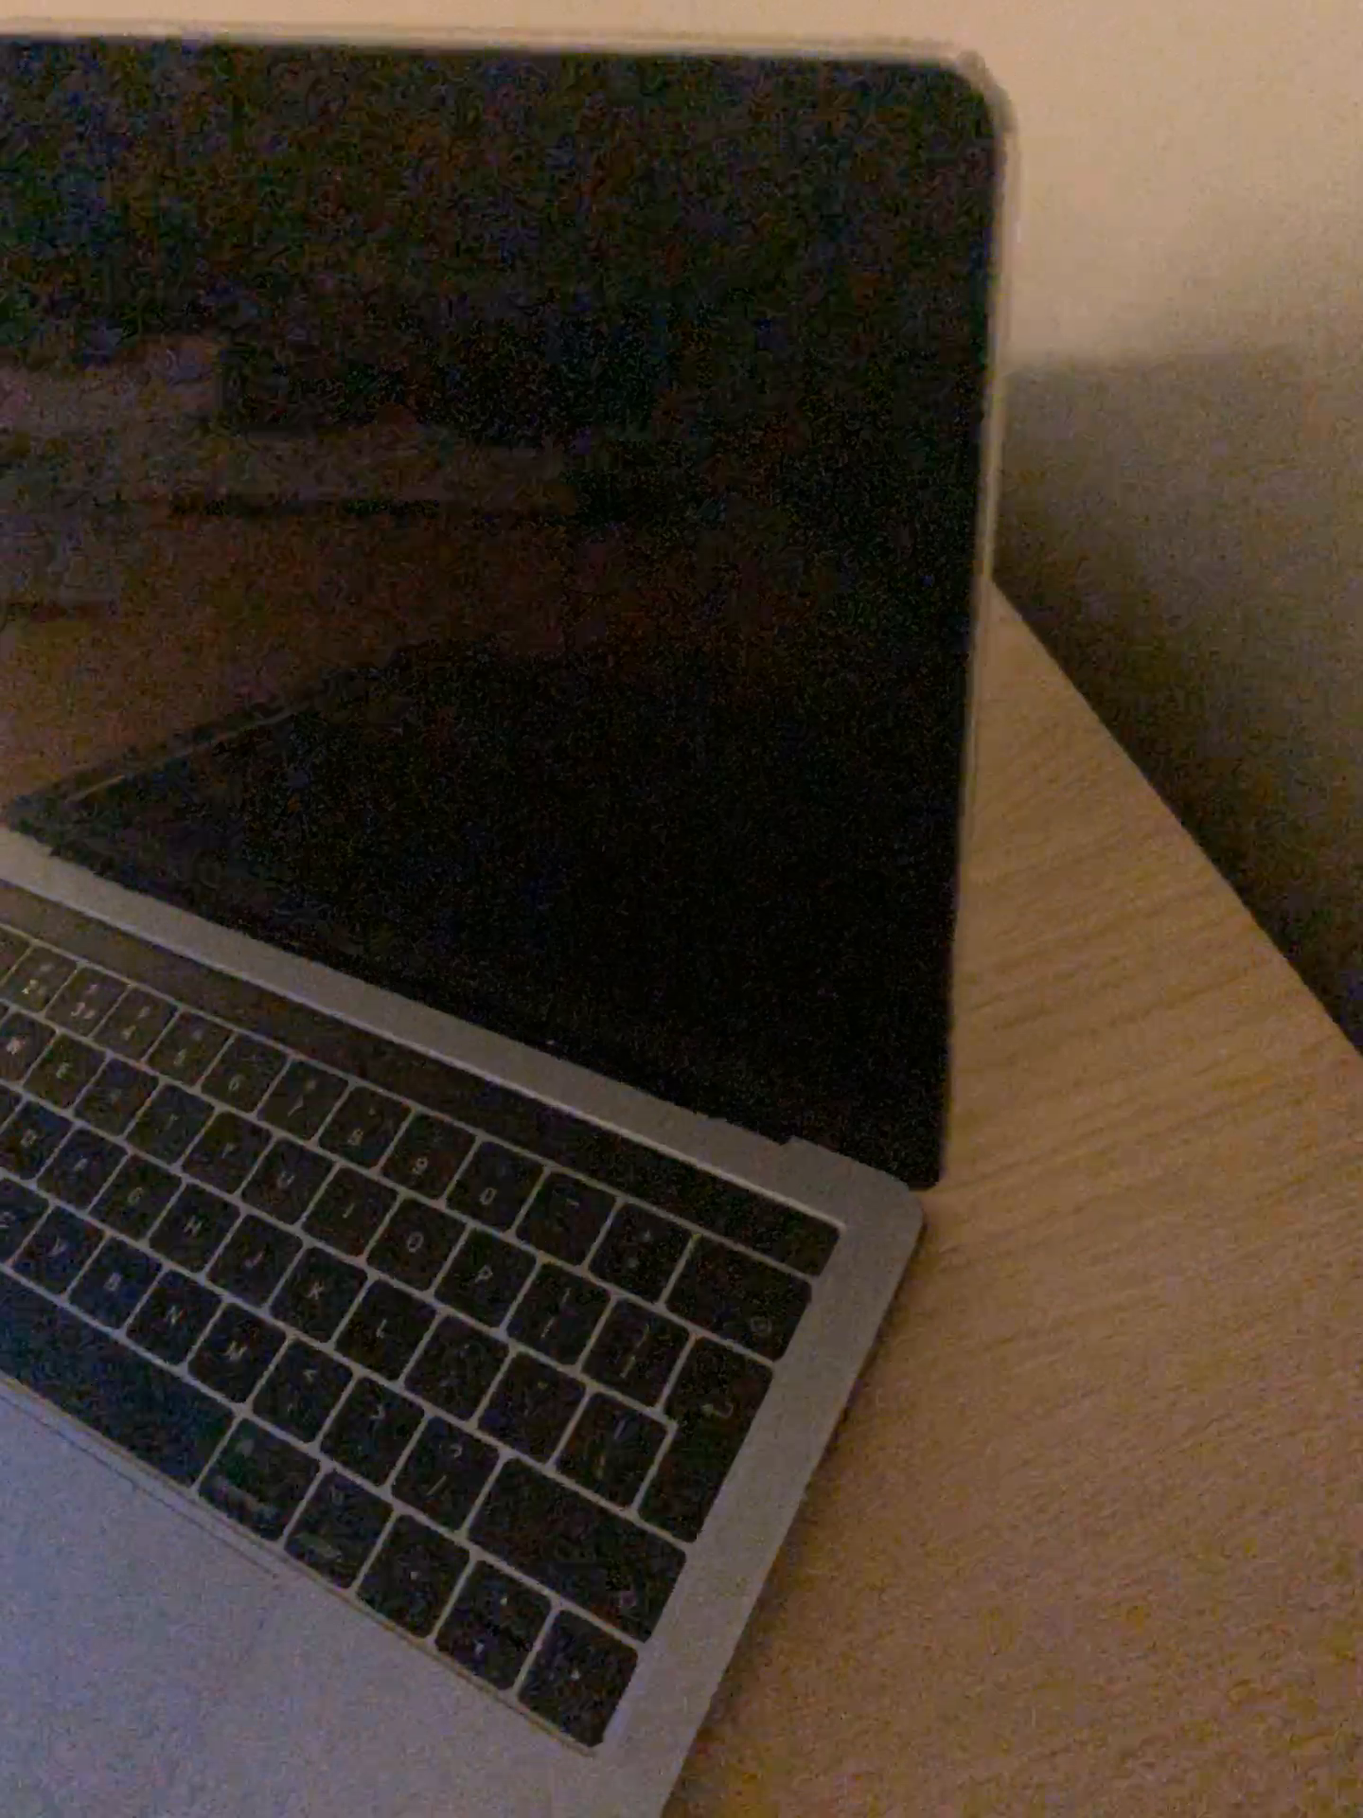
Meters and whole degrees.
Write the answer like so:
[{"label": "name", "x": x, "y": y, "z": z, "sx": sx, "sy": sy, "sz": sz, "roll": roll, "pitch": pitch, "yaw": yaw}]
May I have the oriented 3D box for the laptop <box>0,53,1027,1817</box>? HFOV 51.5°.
[{"label": "laptop", "x": -0.132, "y": 0.024, "z": 0.244, "sx": 0.295, "sy": 0.198, "sz": 0.257, "roll": 18, "pitch": 61, "yaw": 26}]
